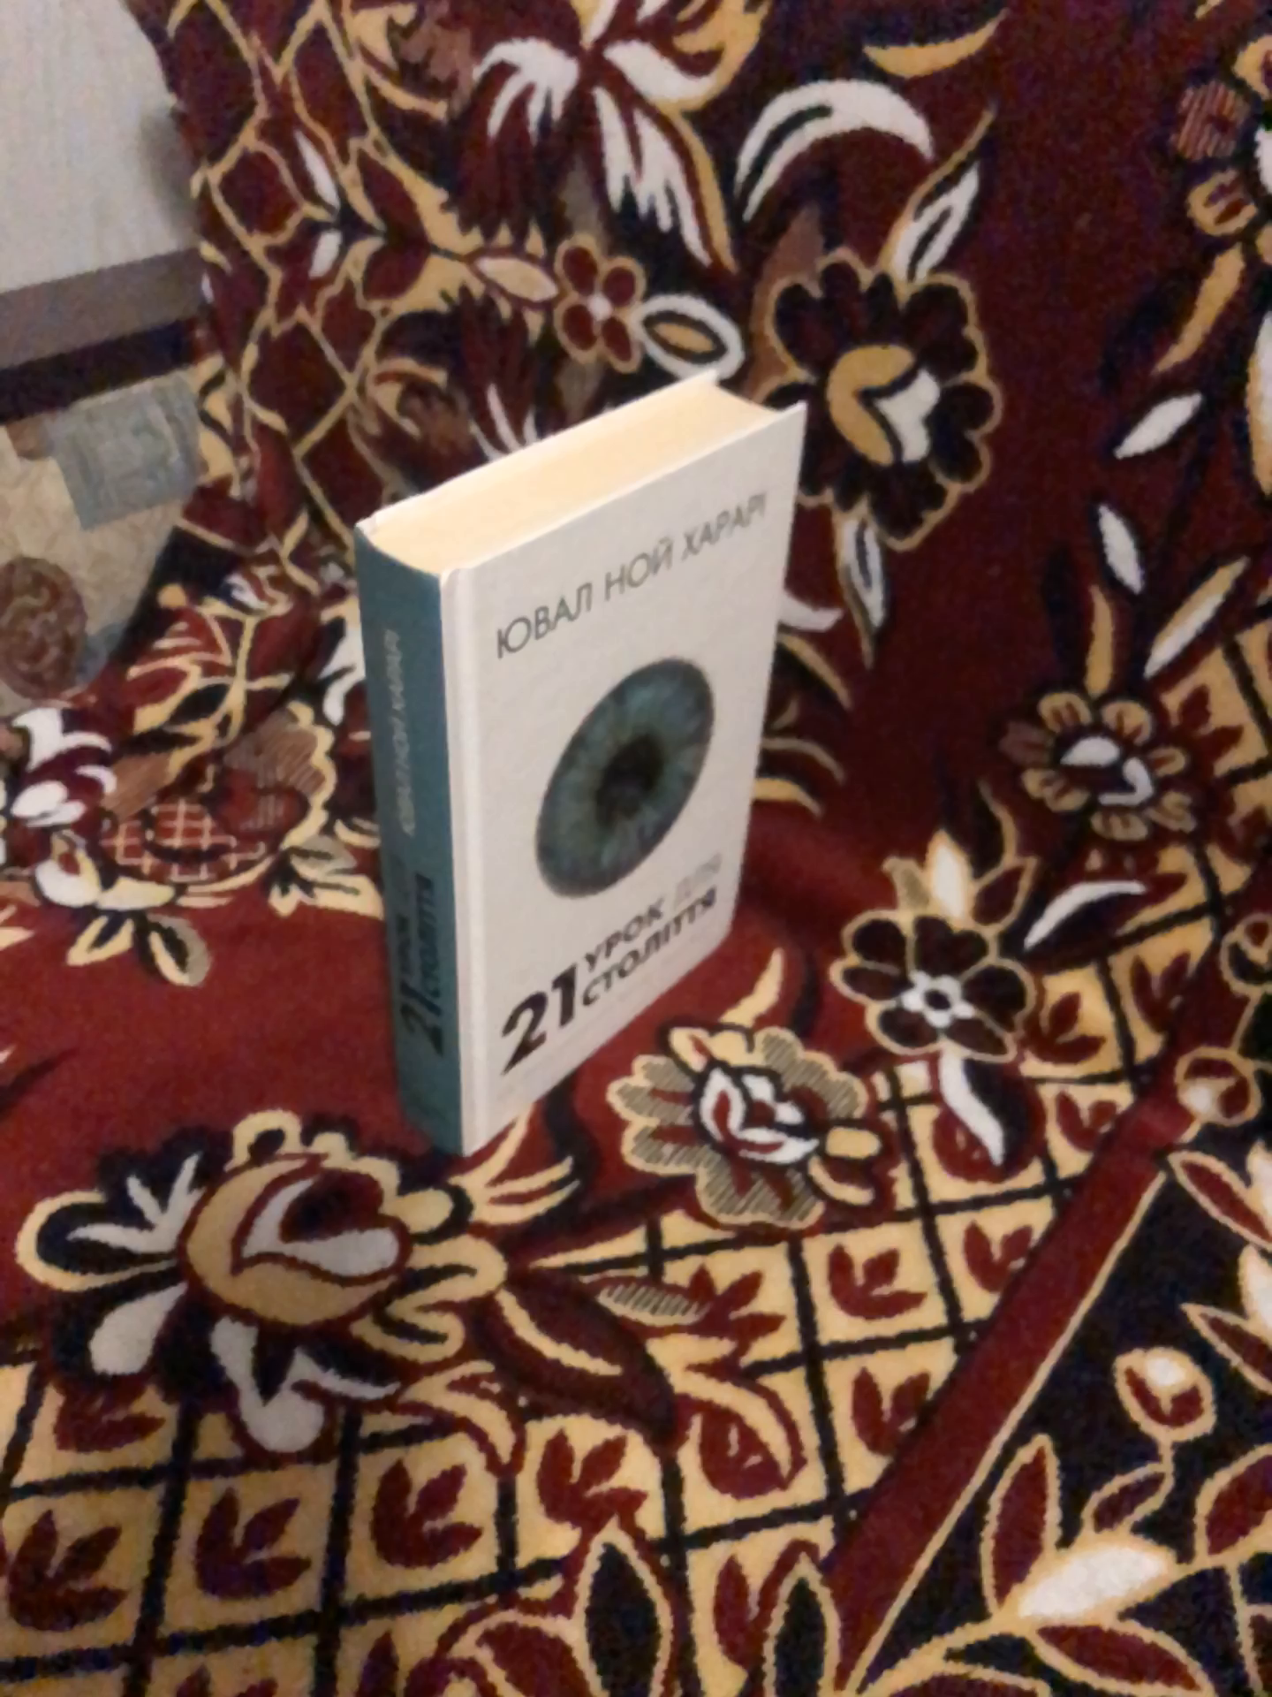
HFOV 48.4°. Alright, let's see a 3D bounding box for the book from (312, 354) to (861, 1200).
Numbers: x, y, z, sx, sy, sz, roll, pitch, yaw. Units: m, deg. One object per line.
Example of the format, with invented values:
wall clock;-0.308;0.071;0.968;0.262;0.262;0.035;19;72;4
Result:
book;-0.013;-0.018;0.418;0.040;0.211;0.153;33;46;30
